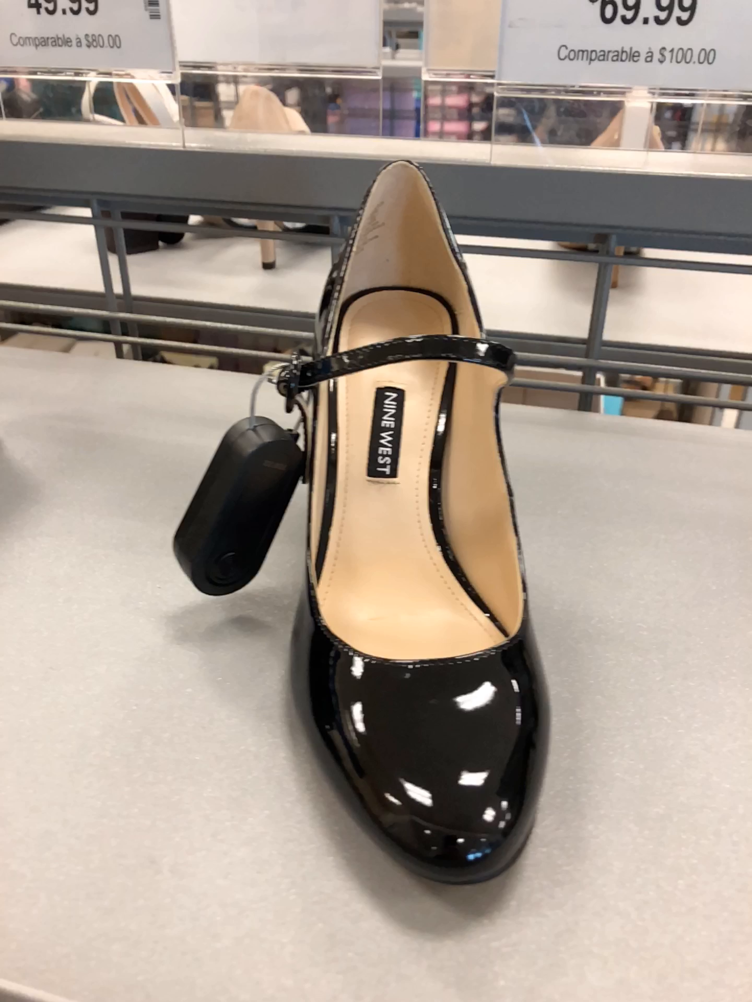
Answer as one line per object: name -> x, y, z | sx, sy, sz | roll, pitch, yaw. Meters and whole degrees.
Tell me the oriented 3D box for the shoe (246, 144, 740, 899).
shoe -> 0.014, -0.025, 0.299 | 0.090, 0.151, 0.258 | -1, 32, -3
